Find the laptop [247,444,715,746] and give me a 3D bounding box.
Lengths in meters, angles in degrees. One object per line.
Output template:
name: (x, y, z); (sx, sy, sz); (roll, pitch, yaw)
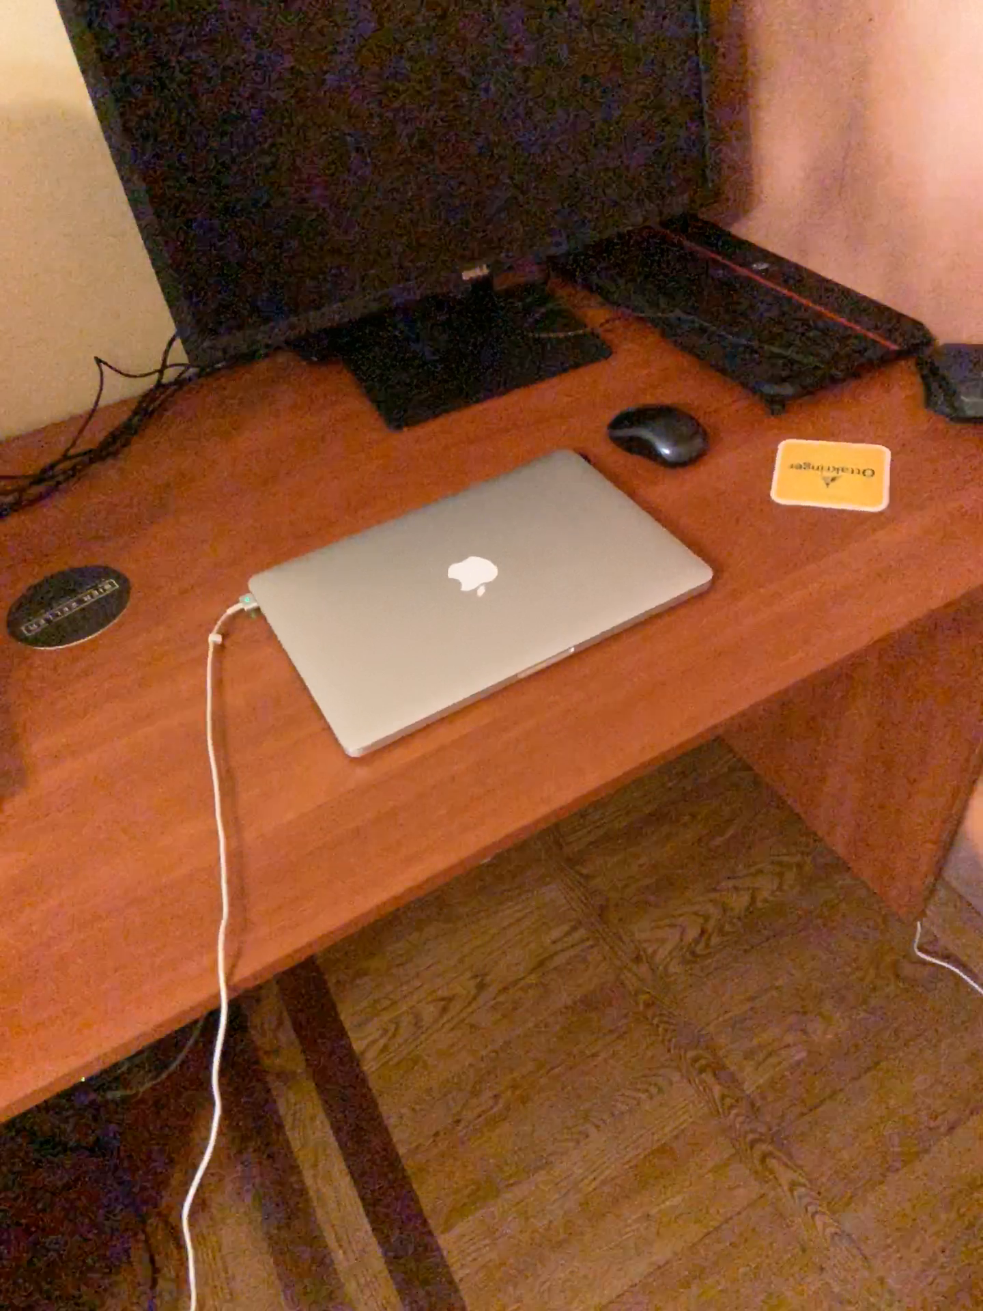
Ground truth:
laptop: (-0.014, -0.065, 0.778); (0.306, 0.001, 0.214); (-25, 48, -17)
